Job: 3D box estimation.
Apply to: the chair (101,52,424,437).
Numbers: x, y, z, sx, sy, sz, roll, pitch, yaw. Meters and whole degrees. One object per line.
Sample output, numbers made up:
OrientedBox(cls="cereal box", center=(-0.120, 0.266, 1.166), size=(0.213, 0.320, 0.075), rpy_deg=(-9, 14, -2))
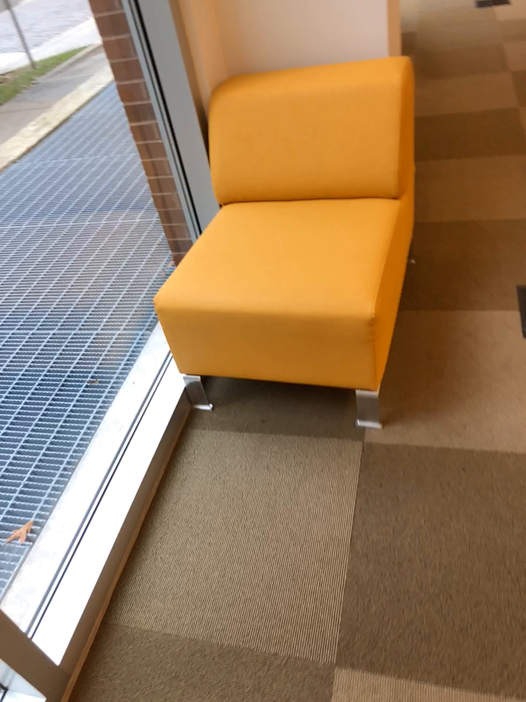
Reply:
OrientedBox(cls="chair", center=(0.126, -0.368, 1.834), size=(0.673, 0.751, 0.948), rpy_deg=(3, 42, 19))
